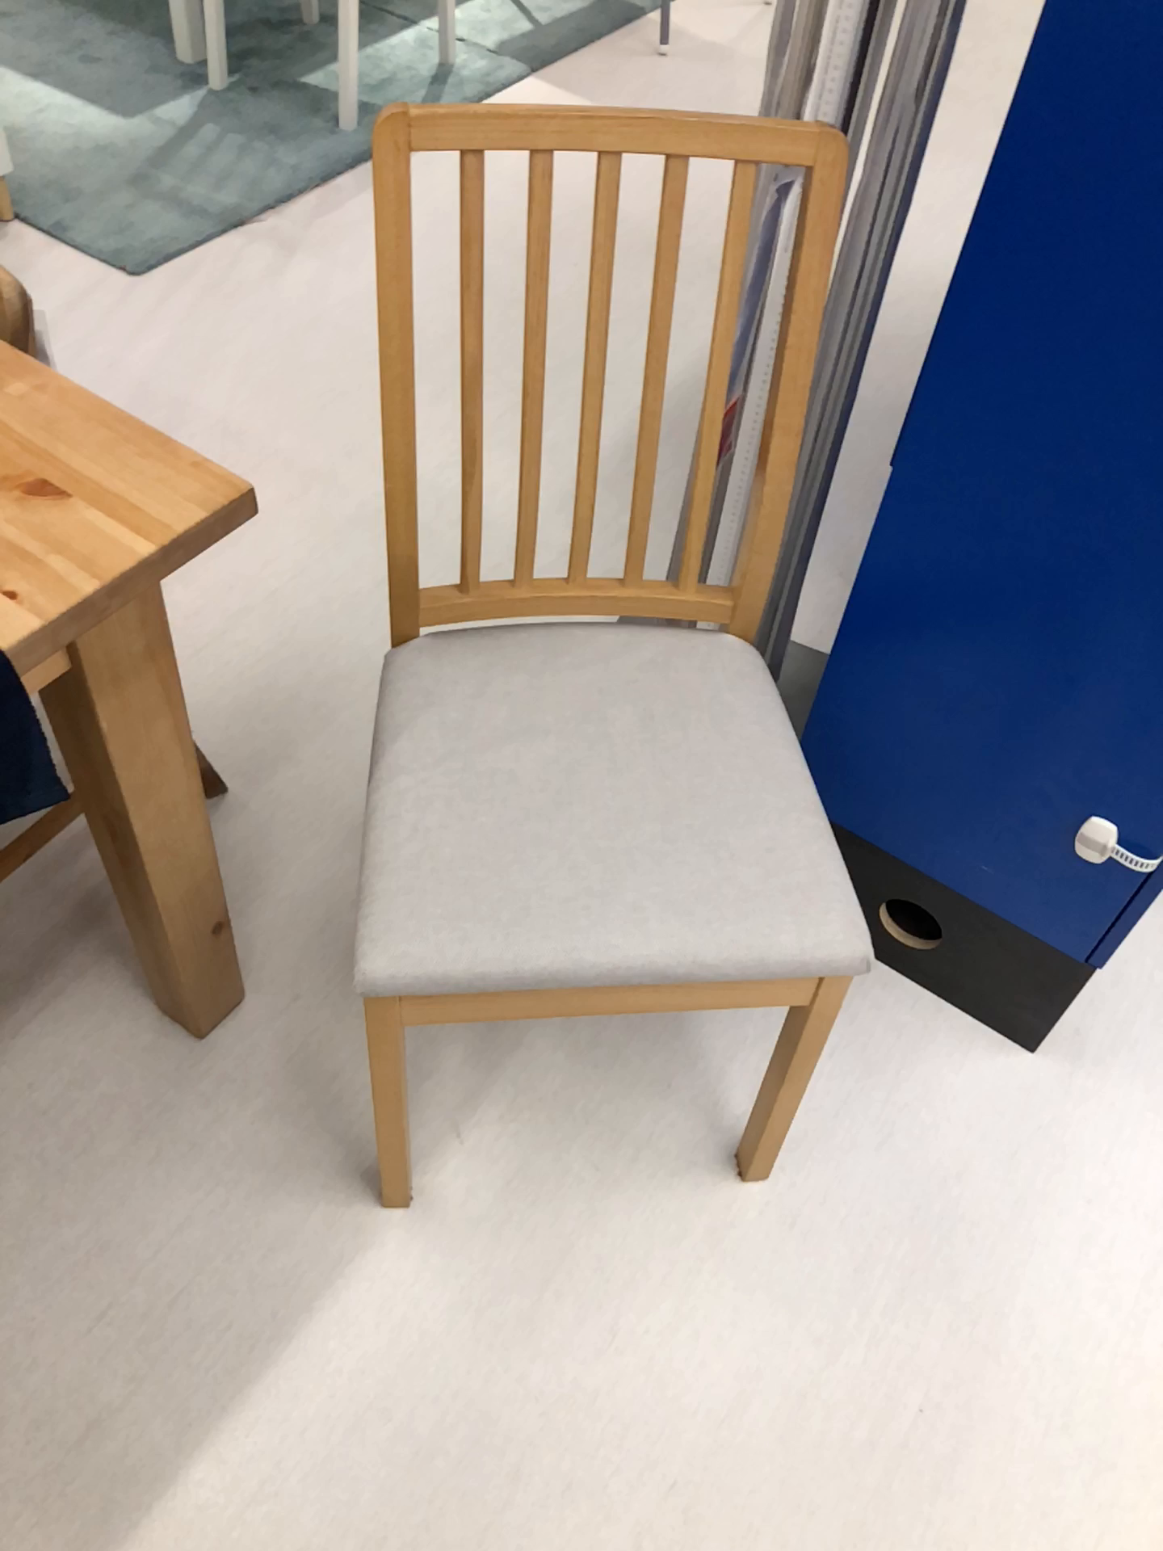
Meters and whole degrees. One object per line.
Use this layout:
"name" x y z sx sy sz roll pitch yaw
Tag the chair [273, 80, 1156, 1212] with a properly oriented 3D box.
"chair" 0.015 -0.042 1.126 0.450 0.855 0.513 -1 51 -7
